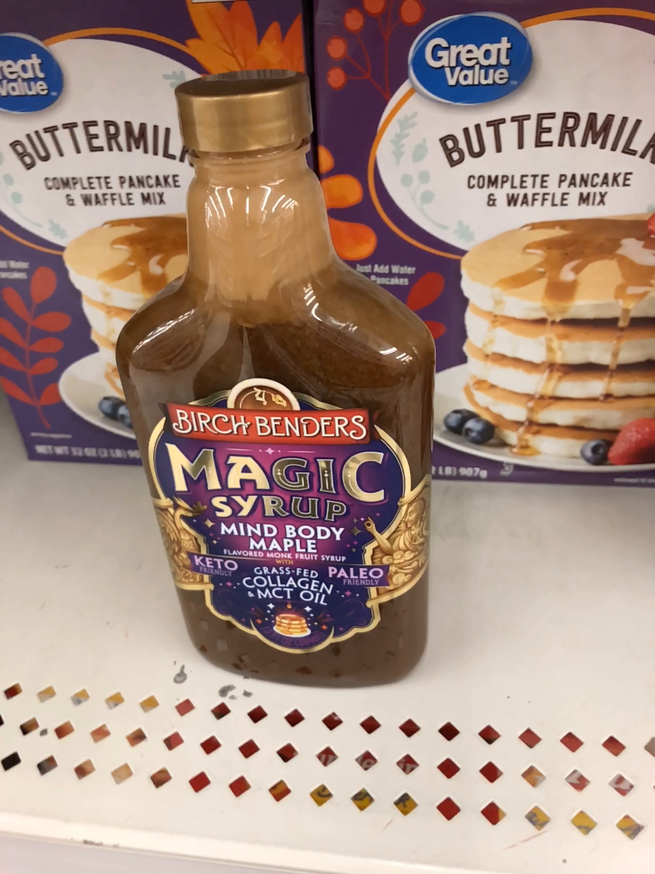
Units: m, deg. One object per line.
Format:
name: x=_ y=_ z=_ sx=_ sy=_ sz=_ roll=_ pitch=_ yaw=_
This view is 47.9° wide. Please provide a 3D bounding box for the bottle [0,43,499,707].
bottle: x=-0.009 y=-0.005 z=0.210 sx=0.100 sy=0.180 sz=0.050 roll=4 pitch=37 yaw=11
